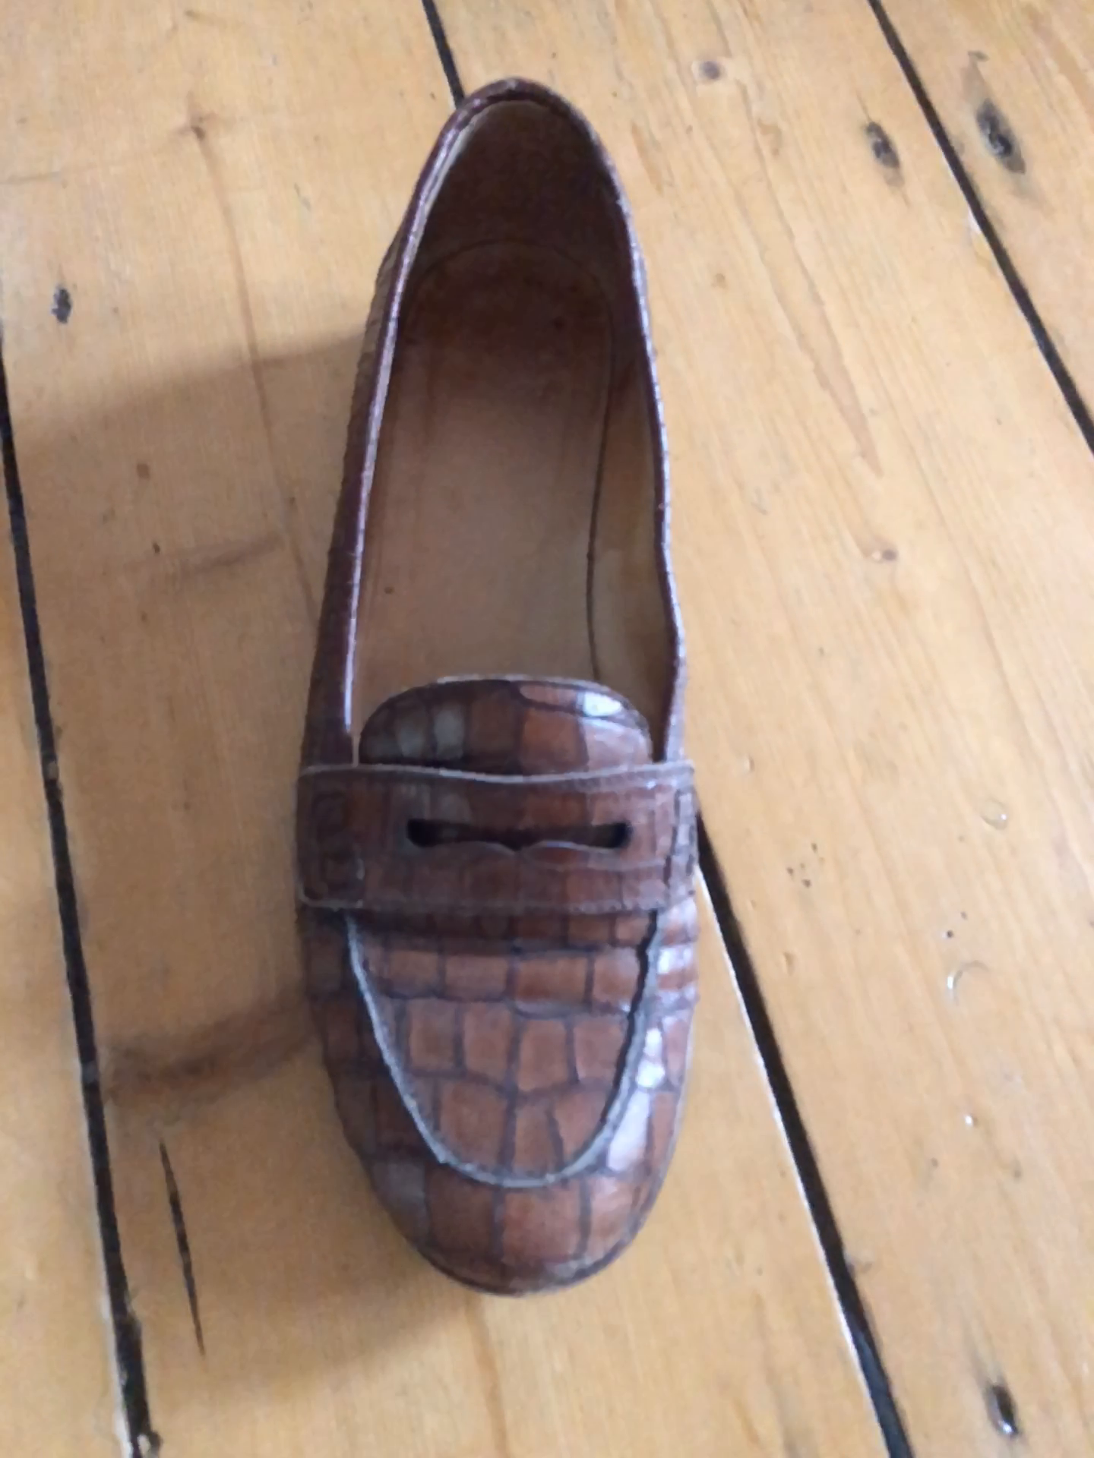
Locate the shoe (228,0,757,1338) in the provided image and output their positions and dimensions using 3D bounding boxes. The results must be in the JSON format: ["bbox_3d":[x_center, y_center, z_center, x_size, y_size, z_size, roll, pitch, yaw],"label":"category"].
[{"bbox_3d":[-0.013,-0.041,0.286,0.080,0.100,0.321,0,69,-2],"label":"shoe"}]
